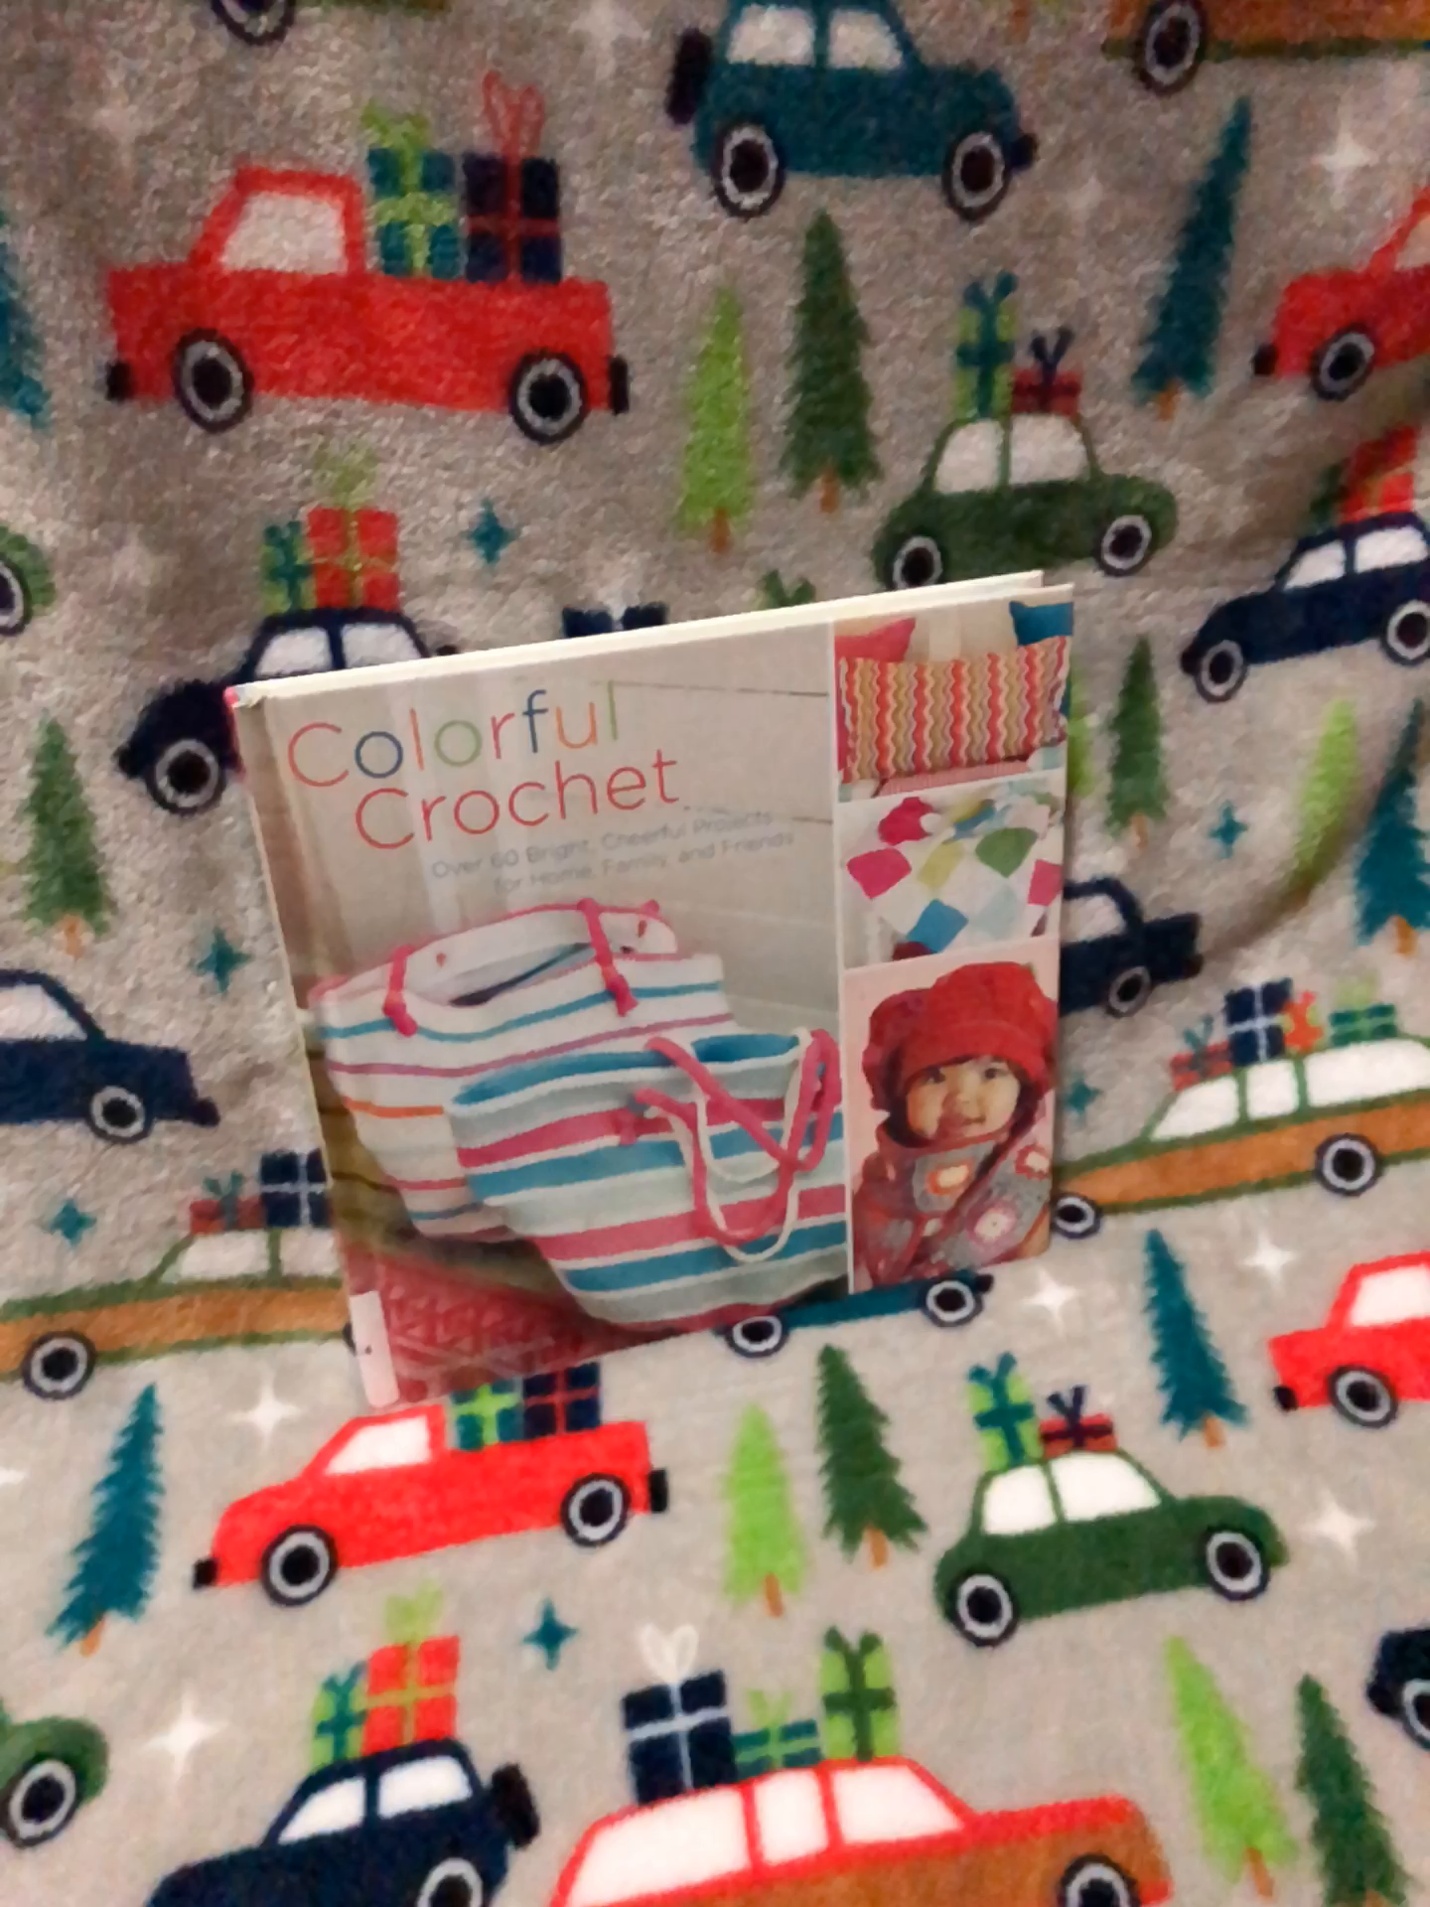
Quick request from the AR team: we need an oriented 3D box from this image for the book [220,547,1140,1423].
[{"bbox_3d":[-0.001,0.015,0.404,0.202,0.214,0.020,-11,35,-14],"label":"book"}]
